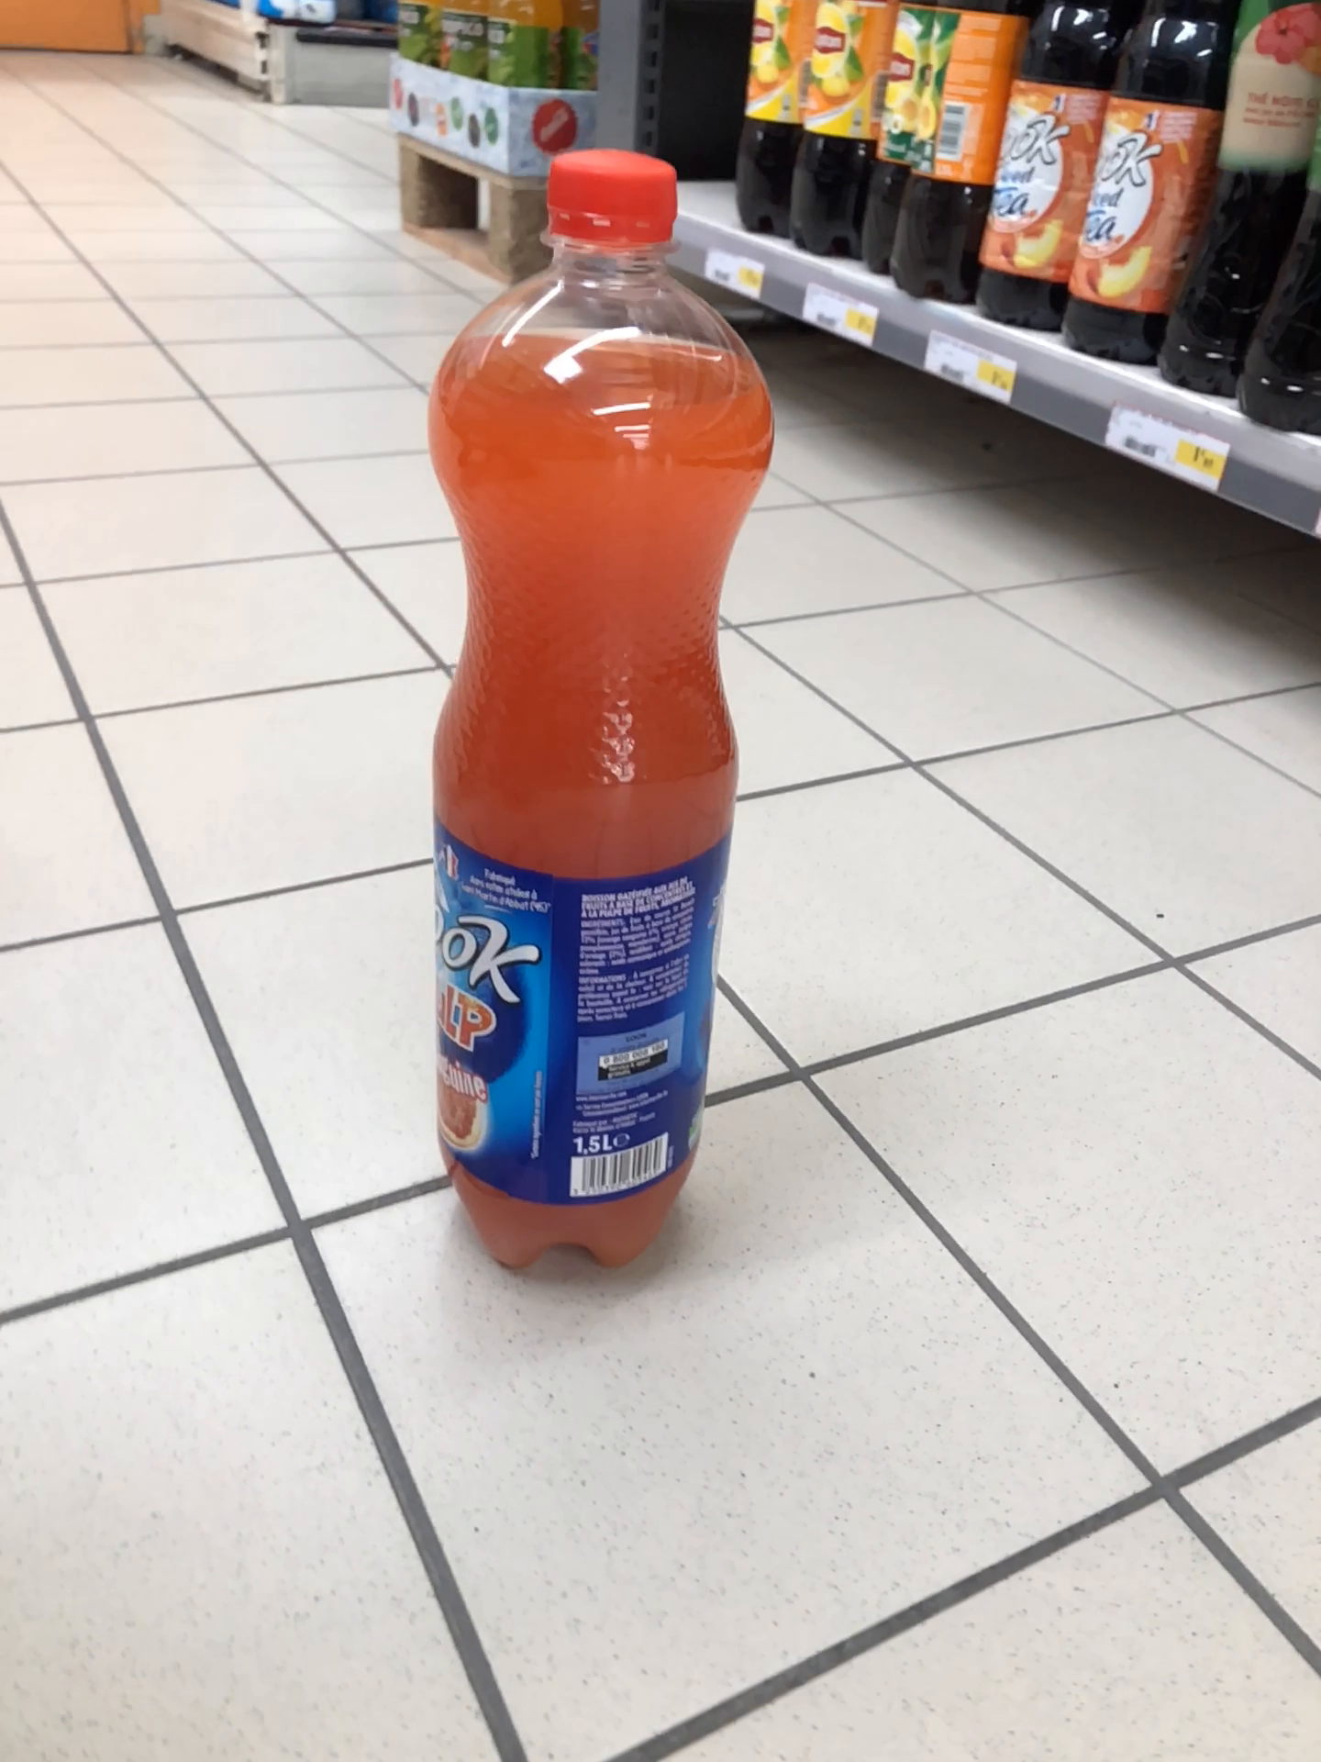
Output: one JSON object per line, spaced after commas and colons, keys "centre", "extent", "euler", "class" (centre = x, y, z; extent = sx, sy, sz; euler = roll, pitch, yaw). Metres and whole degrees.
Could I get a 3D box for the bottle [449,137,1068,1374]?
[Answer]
{"centre": [0.005, -0.024, 0.400], "extent": [0.100, 0.308, 0.110], "euler": [-8, 34, -20], "class": "bottle"}
